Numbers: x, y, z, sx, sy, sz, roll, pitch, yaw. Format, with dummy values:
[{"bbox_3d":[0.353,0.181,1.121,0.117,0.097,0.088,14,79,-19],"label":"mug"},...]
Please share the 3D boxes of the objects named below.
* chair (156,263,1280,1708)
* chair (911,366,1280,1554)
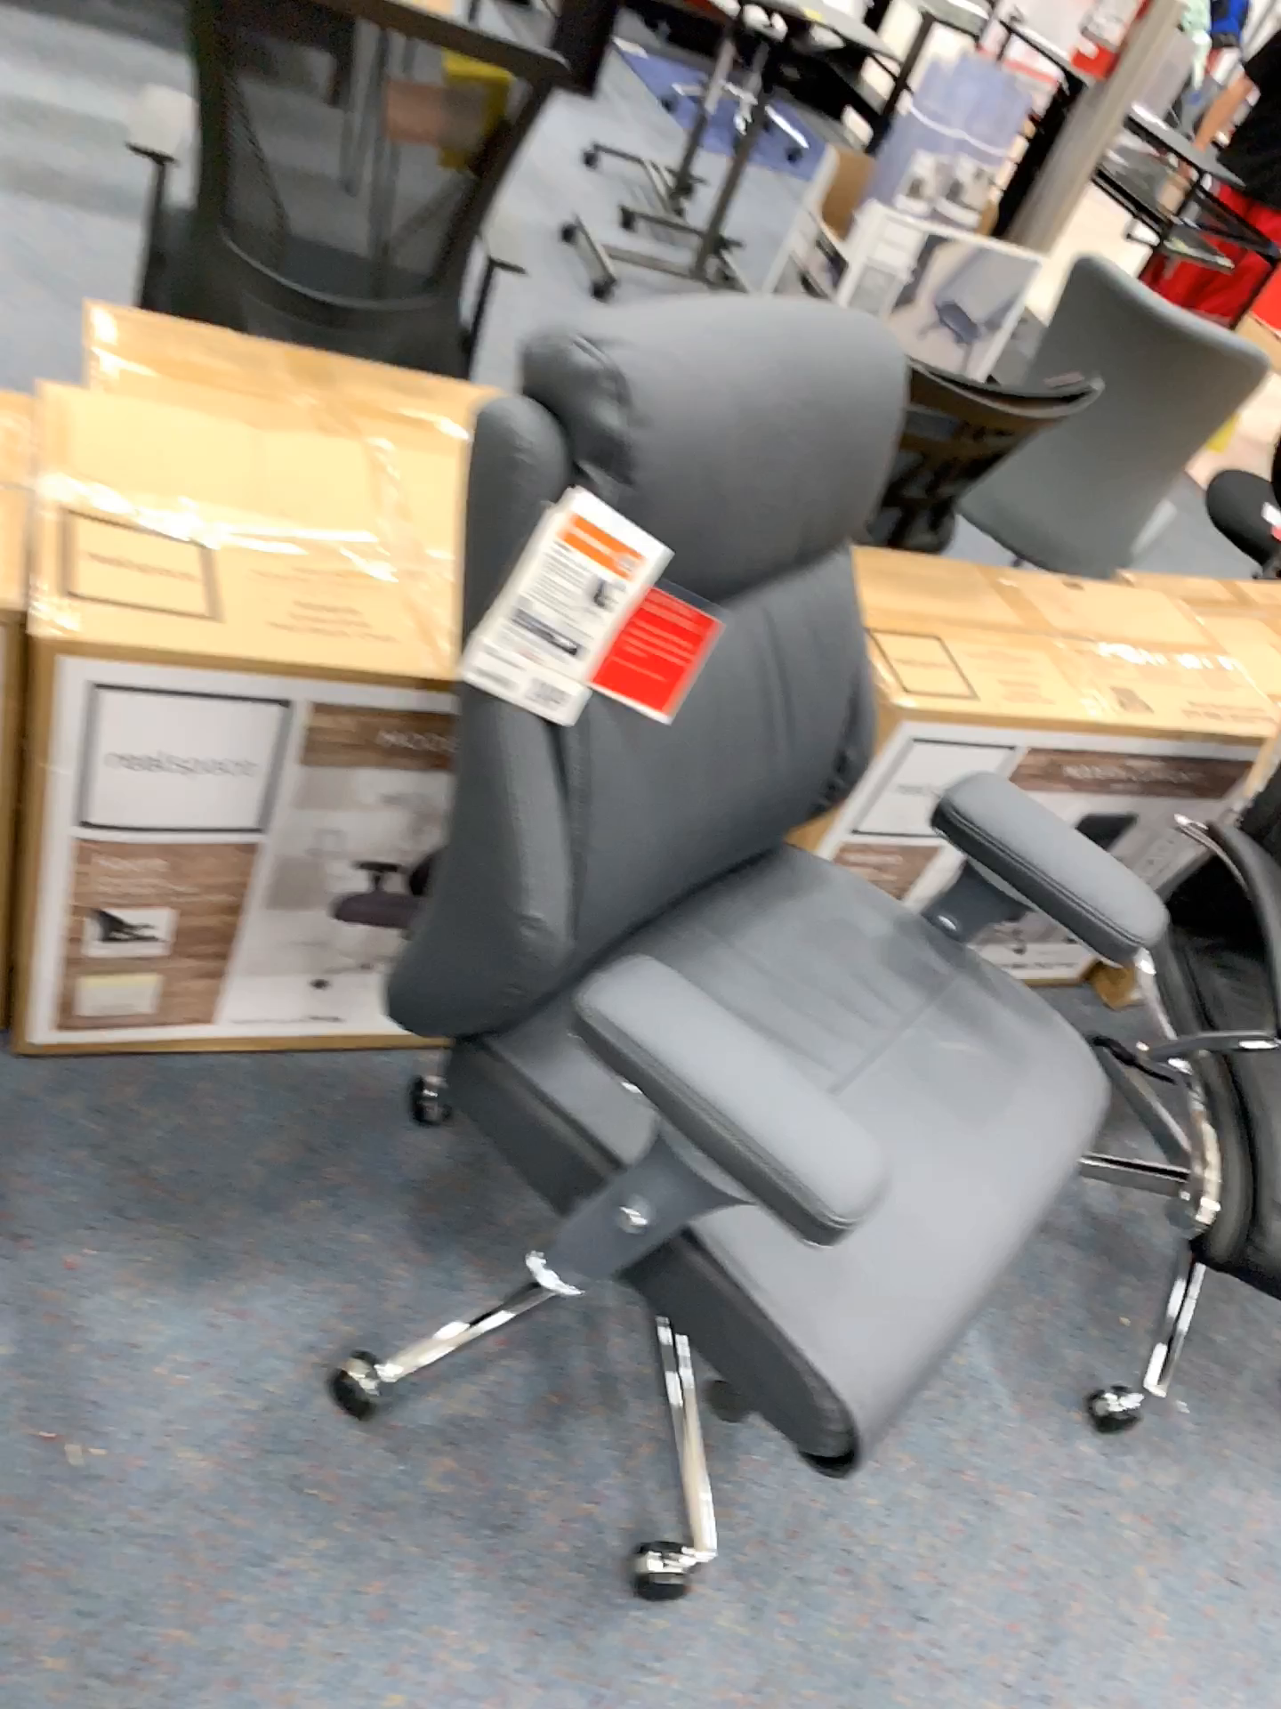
[{"bbox_3d":[0.129,0.123,1.298,0.695,1.076,0.697,39,38,14],"label":"chair"},{"bbox_3d":[0.966,0.186,1.658,0.764,1.095,0.788,19,41,-9],"label":"chair"}]
